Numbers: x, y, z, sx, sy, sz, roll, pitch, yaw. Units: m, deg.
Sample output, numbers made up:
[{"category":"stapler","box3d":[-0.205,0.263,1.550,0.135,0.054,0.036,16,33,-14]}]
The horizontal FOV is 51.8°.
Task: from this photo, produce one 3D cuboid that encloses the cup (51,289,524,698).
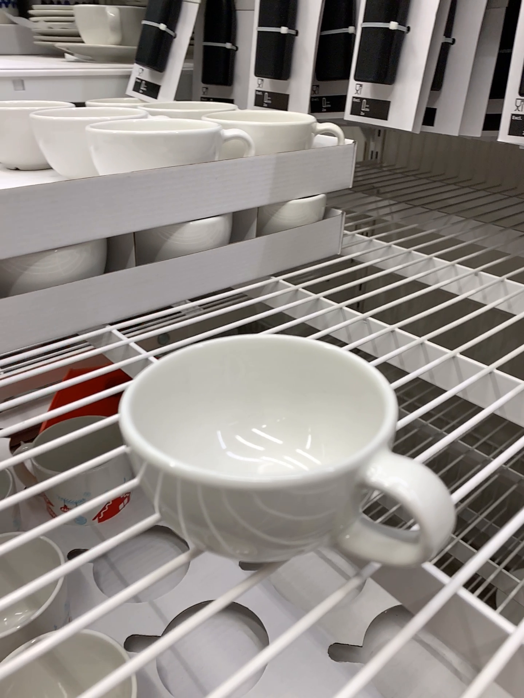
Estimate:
[{"category":"cup","box3d":[0.009,0.026,0.175,0.117,0.036,0.097,25,36,36]}]
